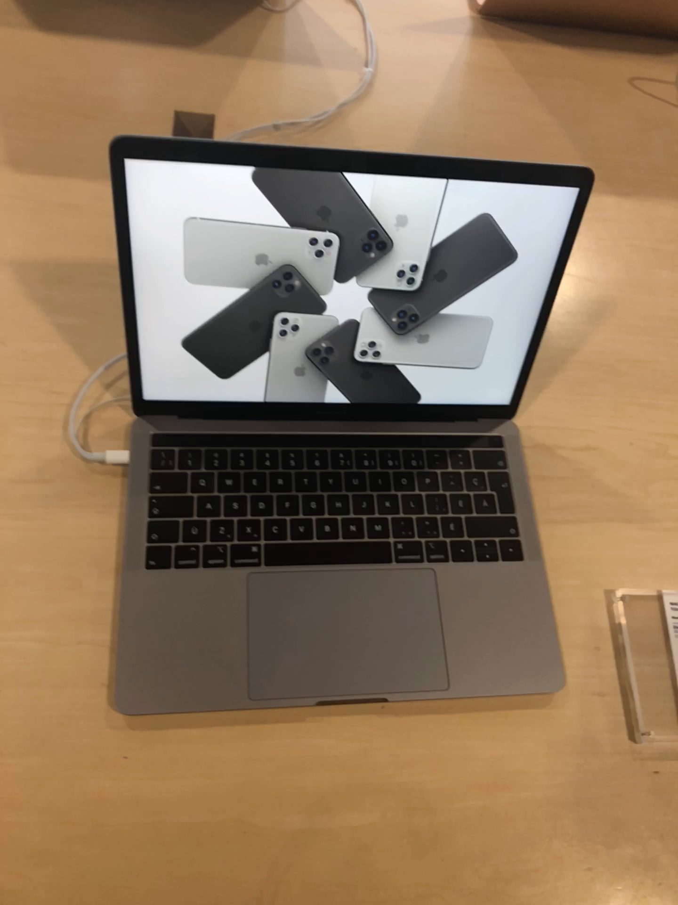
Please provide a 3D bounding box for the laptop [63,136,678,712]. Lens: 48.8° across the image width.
[{"bbox_3d":[0.008,-0.008,0.472,0.296,0.181,0.296,0,64,-10],"label":"laptop"}]
